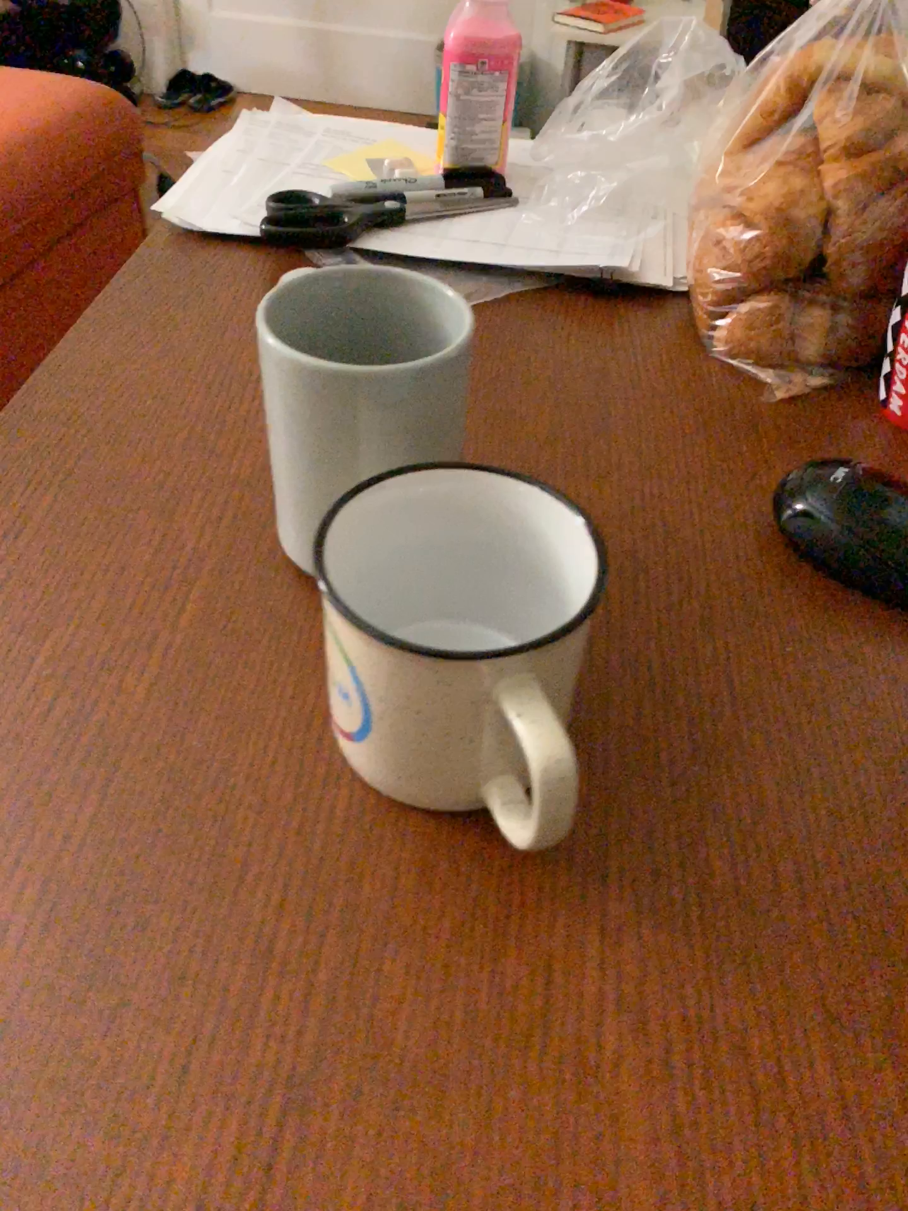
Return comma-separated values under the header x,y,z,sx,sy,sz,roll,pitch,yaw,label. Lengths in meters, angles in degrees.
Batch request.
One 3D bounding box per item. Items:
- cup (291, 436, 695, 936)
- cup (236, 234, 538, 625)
x,y,z,sx,sy,sz,roll,pitch,yaw,label
0.001,0.023,0.324,0.100,0.099,0.131,-5,45,-10,cup
-0.036,-0.081,0.402,0.100,0.099,0.141,-6,45,-10,cup
